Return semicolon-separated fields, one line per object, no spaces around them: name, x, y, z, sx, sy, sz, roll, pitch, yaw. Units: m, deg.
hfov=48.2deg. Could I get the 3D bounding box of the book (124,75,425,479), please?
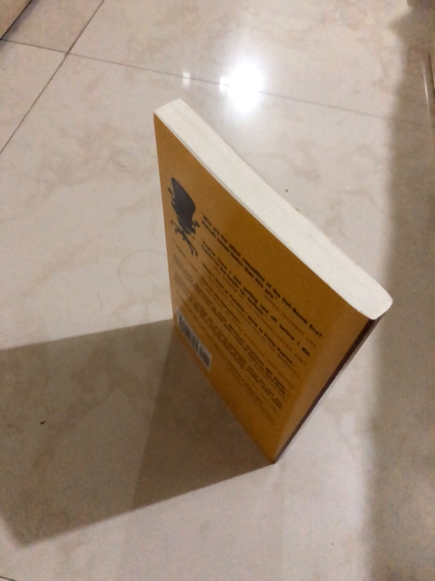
book;0.008;0.015;0.258;0.030;0.199;0.130;-32;65;-22
